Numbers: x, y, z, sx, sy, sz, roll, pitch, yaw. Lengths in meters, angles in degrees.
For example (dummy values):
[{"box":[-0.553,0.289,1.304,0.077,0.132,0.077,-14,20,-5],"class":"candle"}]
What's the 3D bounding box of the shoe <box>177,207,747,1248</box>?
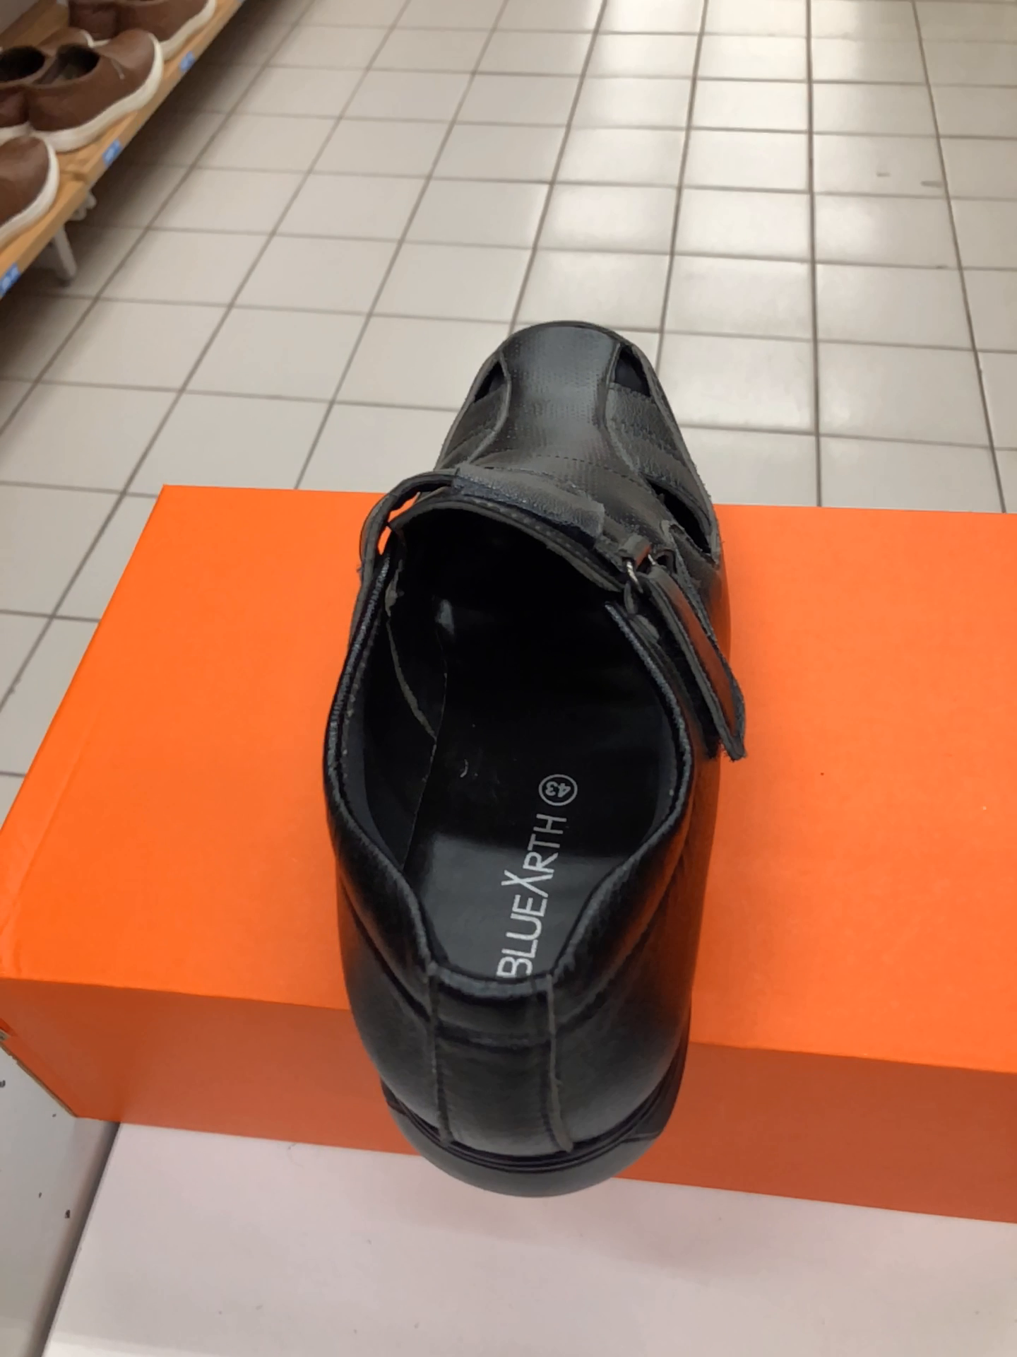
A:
[{"box":[0.011,-0.016,0.331,0.100,0.099,0.302,4,49,6],"class":"shoe"}]
